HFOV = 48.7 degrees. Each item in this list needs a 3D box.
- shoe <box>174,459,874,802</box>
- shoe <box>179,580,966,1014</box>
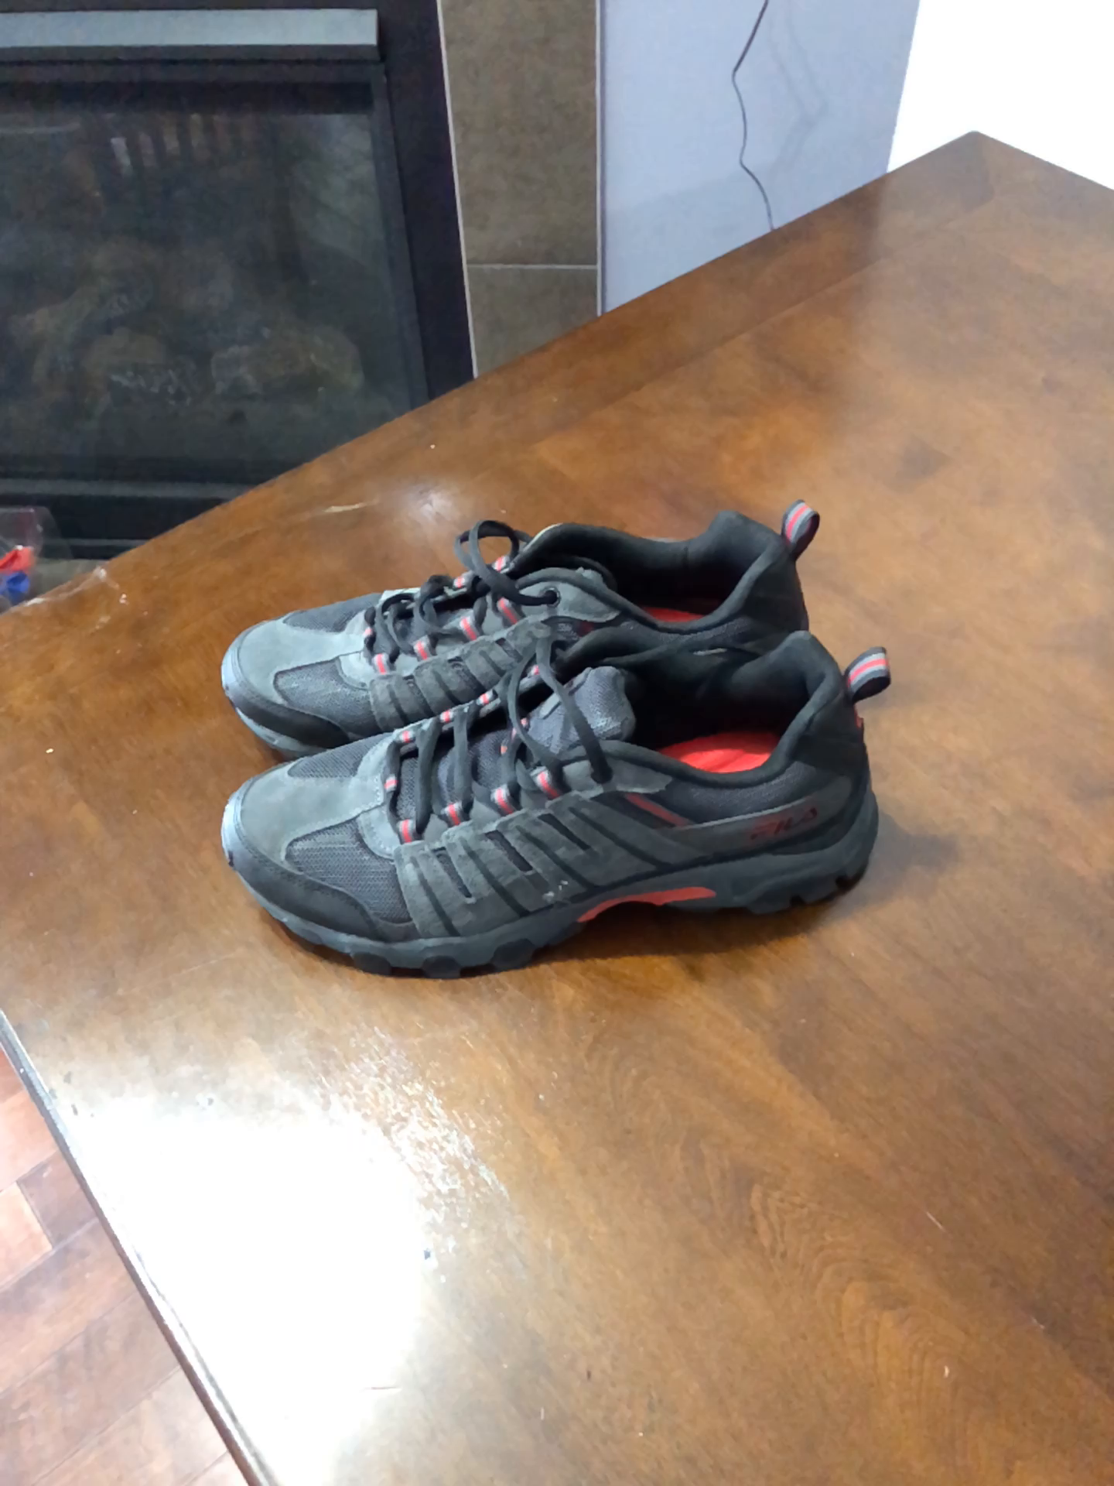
[{"bbox_3d":[-0.014,-0.055,0.603,0.300,0.100,0.120,-2,51,0],"label":"shoe"},{"bbox_3d":[0.002,0.023,0.541,0.300,0.100,0.120,-7,51,-3],"label":"shoe"}]
